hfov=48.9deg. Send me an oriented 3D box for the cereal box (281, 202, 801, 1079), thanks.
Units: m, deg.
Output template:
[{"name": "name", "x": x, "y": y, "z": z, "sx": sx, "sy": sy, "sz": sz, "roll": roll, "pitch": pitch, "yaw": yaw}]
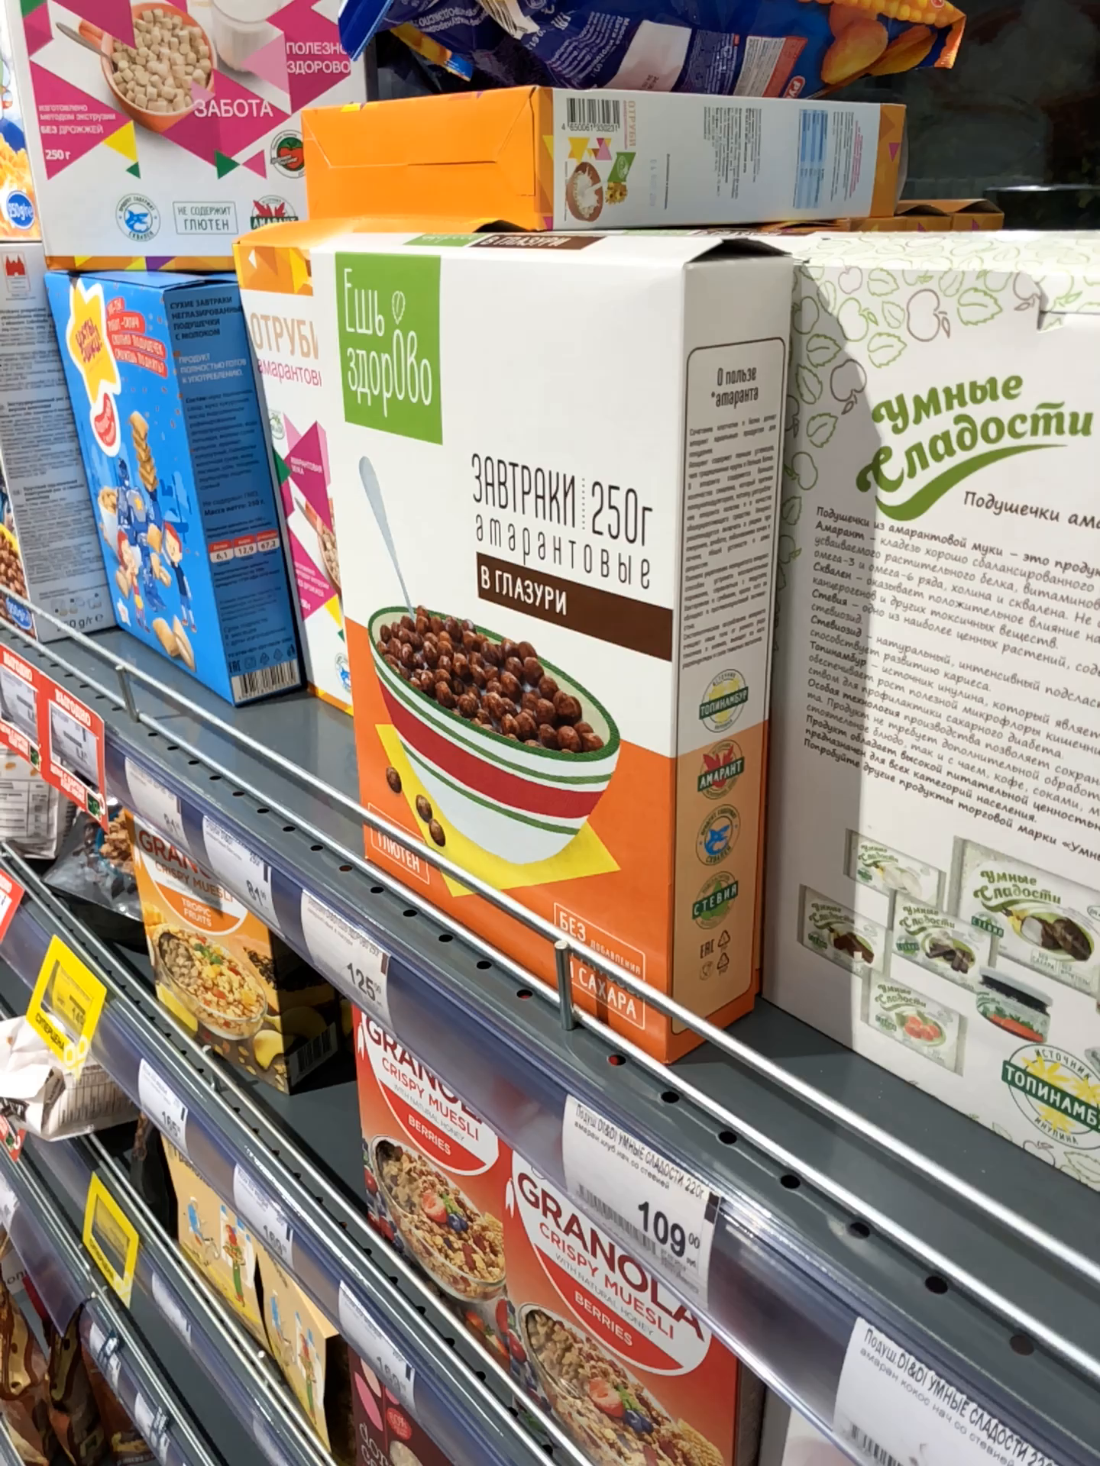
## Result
[{"name": "cereal box", "x": -0.010, "y": -0.042, "z": 0.422, "sx": 0.050, "sy": 0.259, "sz": 0.191, "roll": -20, "pitch": 29, "yaw": -36}]
